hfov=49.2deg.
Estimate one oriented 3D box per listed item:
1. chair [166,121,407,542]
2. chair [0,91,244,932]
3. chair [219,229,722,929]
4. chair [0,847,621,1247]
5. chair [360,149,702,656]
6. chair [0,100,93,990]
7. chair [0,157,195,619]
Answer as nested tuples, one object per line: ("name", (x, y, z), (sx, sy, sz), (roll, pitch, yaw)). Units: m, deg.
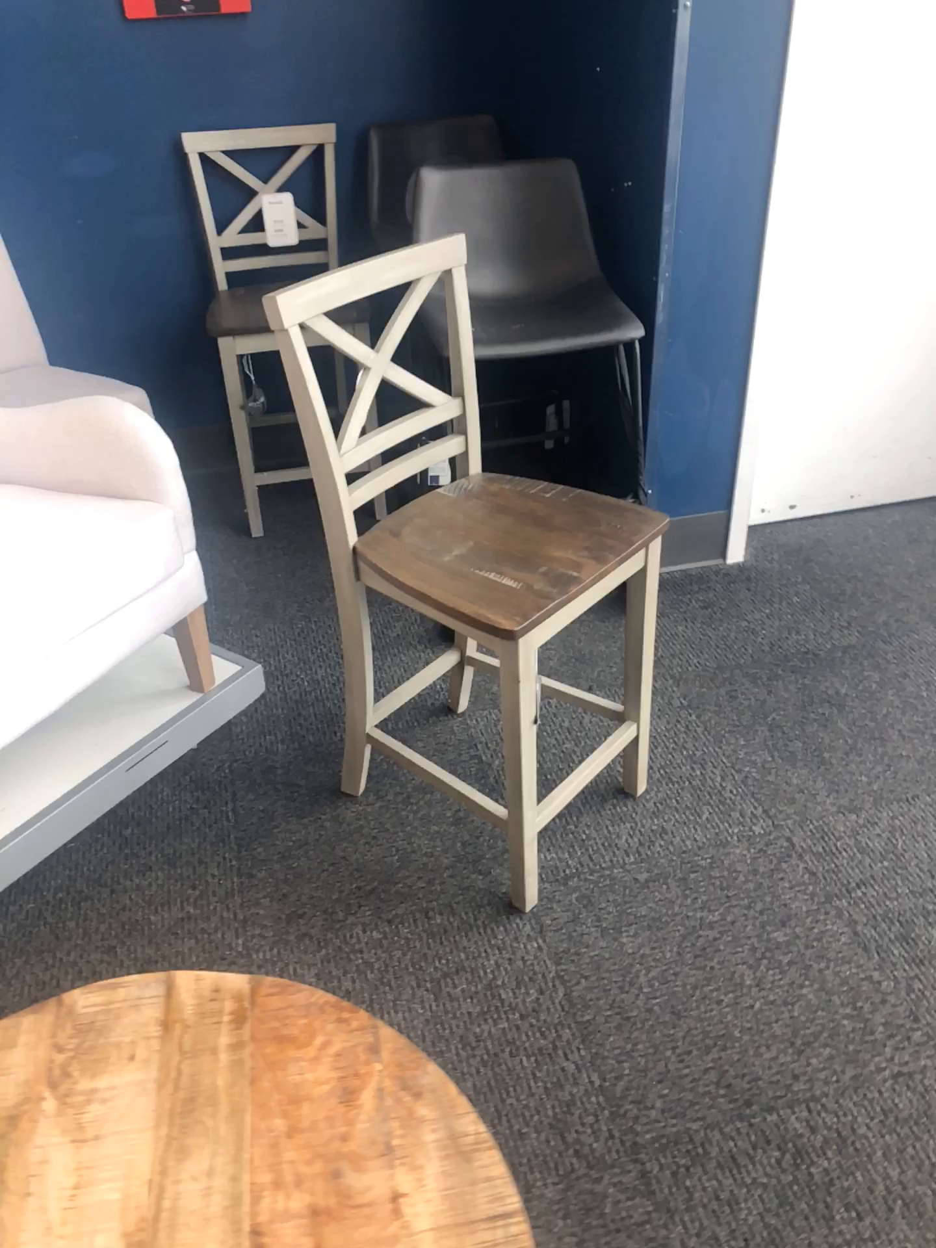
("chair", (-0.467, -0.789, 2.761), (0.469, 0.934, 0.537), (-8, 34, -8))
("chair", (-0.933, -0.226, 1.627), (0.705, 1.014, 0.692), (15, 38, 25))
("chair", (0.021, -0.087, 1.704), (0.536, 0.934, 0.471), (24, 42, 33))
("chair", (-0.237, 0.658, 1.021), (0.685, 0.536, 0.522), (7, 35, 13))
("chair", (0.120, -0.512, 2.339), (0.540, 0.934, 0.537), (-12, 35, -14))
("chair", (-0.879, -0.088, 1.232), (0.485, 0.914, 0.381), (15, 38, 25))
("chair", (-1.166, -0.611, 2.583), (0.586, 0.924, 0.521), (24, 42, 34))
